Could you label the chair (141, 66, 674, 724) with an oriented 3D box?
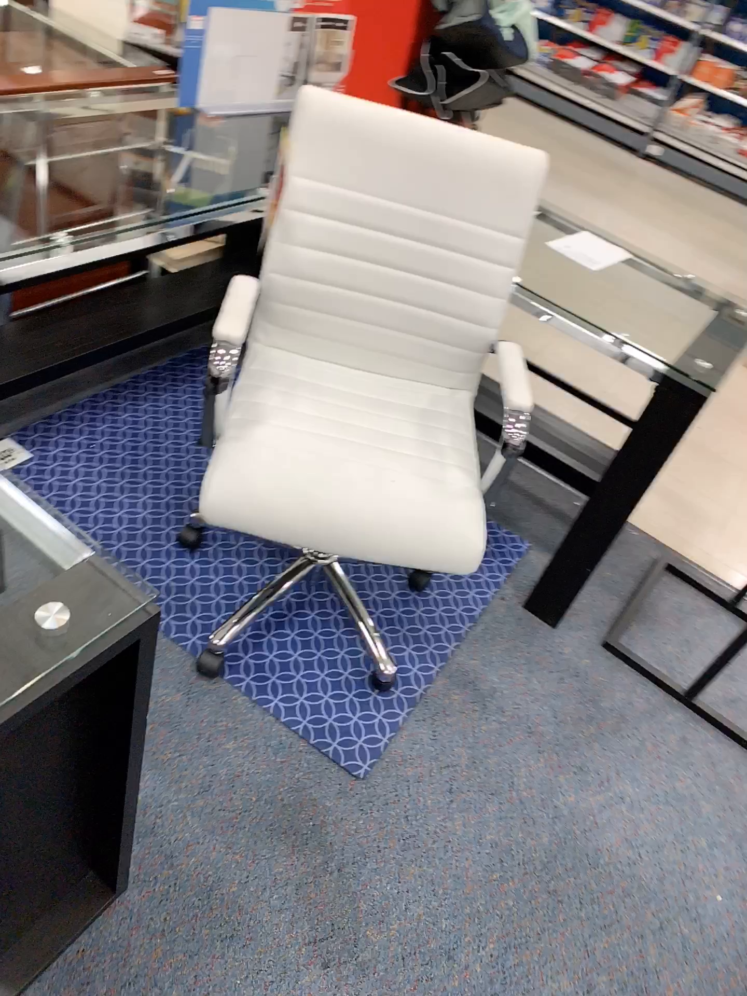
[{"bbox_3d":[-0.035,-0.151,1.490,0.614,0.963,0.664,11,41,-10],"label":"chair"}]
